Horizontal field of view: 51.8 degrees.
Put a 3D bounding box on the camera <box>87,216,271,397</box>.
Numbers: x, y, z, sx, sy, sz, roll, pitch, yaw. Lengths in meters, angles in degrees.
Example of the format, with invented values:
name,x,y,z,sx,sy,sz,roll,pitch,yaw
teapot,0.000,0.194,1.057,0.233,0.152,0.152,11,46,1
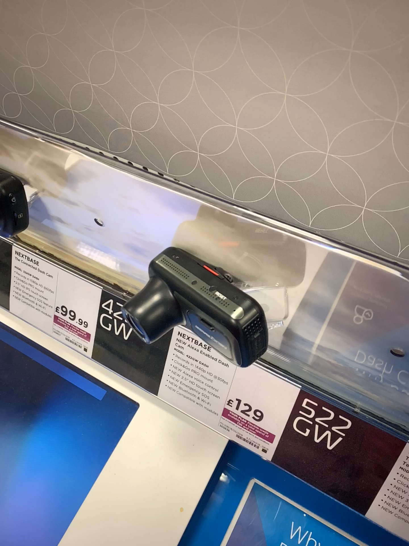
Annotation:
name,x,y,z,sx,sy,sz,roll,pitch,yaw
camera,-0.015,0.013,0.232,0.050,0.040,0.090,-37,49,-24
